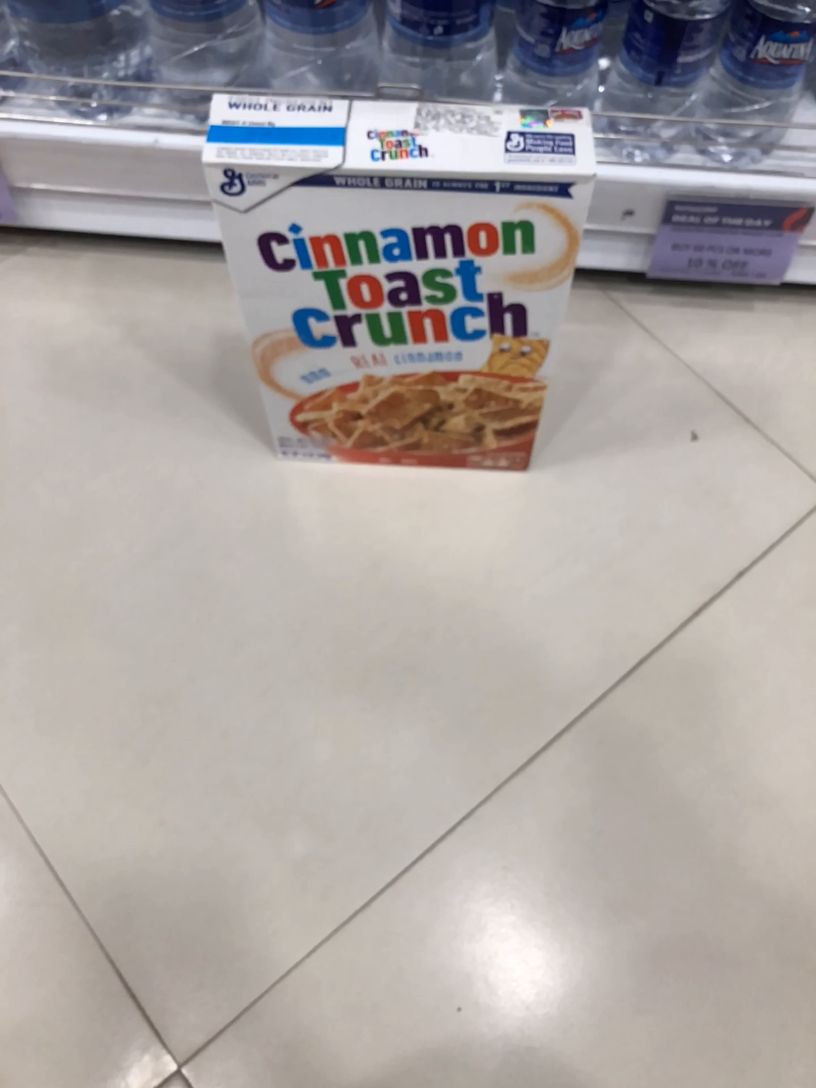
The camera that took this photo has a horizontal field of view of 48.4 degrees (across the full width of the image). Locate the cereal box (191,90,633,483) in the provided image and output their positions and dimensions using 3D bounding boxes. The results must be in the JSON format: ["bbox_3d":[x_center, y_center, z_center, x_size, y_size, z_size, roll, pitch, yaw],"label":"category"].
[{"bbox_3d":[0.003,-0.131,0.550,0.200,0.279,0.060,2,67,1],"label":"cereal box"}]
